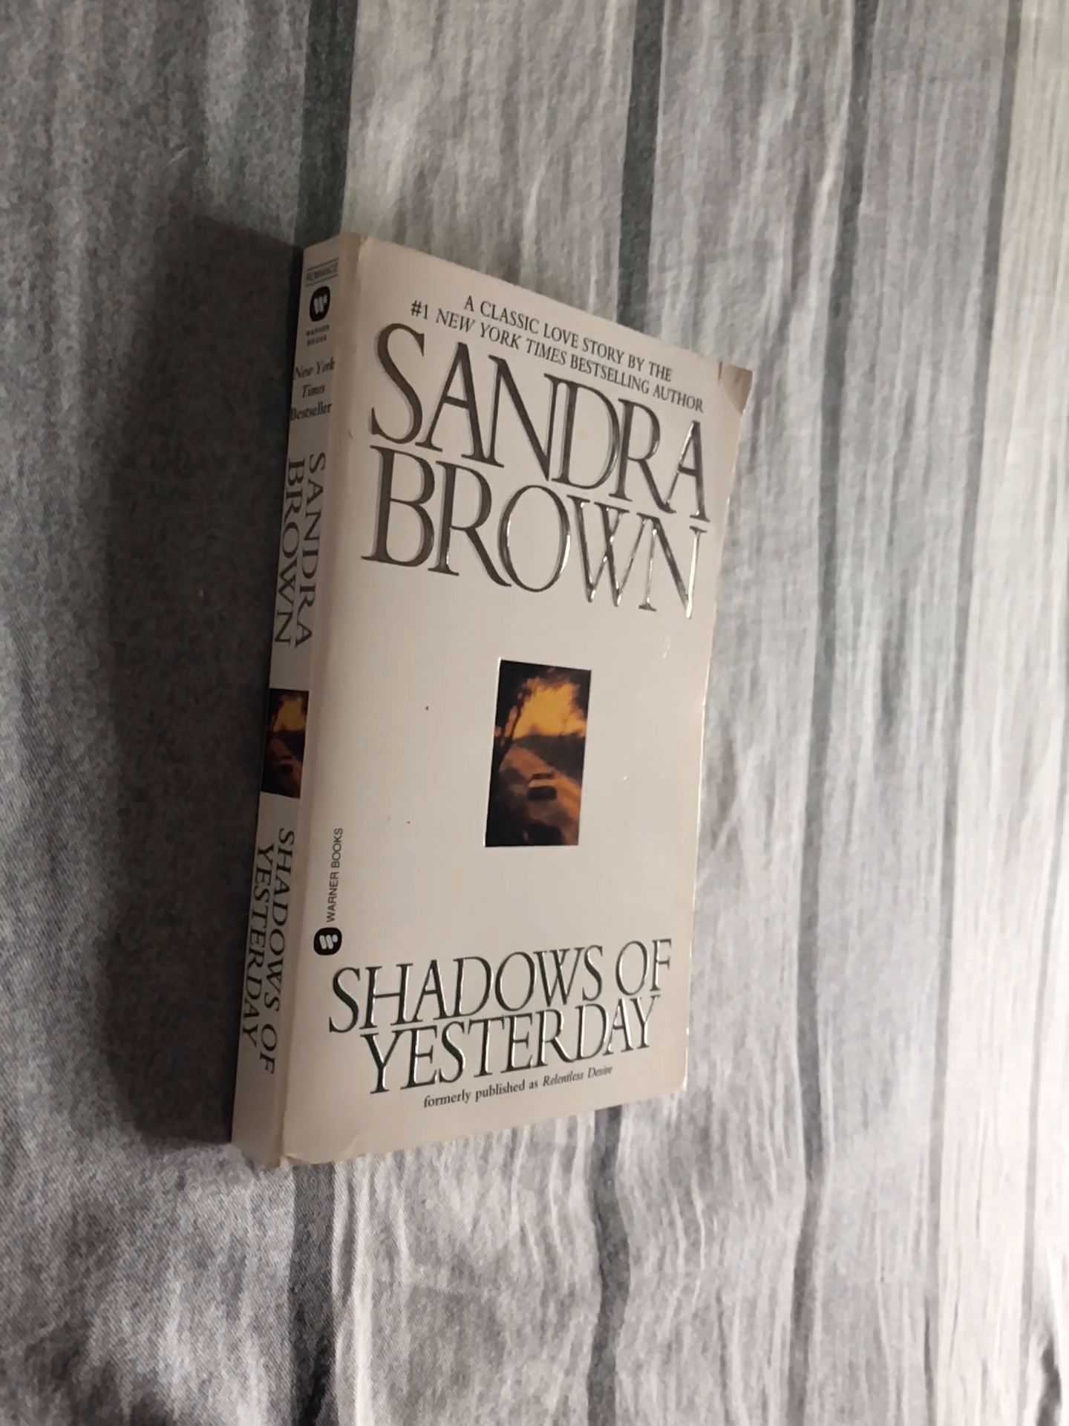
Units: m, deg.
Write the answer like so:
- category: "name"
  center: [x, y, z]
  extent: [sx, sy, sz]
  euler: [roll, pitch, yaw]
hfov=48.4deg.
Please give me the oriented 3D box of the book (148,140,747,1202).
- category: "book"
  center: [-0.010, -0.004, 0.254]
  extent: [0.120, 0.030, 0.180]
  euler: [6, 89, -45]
